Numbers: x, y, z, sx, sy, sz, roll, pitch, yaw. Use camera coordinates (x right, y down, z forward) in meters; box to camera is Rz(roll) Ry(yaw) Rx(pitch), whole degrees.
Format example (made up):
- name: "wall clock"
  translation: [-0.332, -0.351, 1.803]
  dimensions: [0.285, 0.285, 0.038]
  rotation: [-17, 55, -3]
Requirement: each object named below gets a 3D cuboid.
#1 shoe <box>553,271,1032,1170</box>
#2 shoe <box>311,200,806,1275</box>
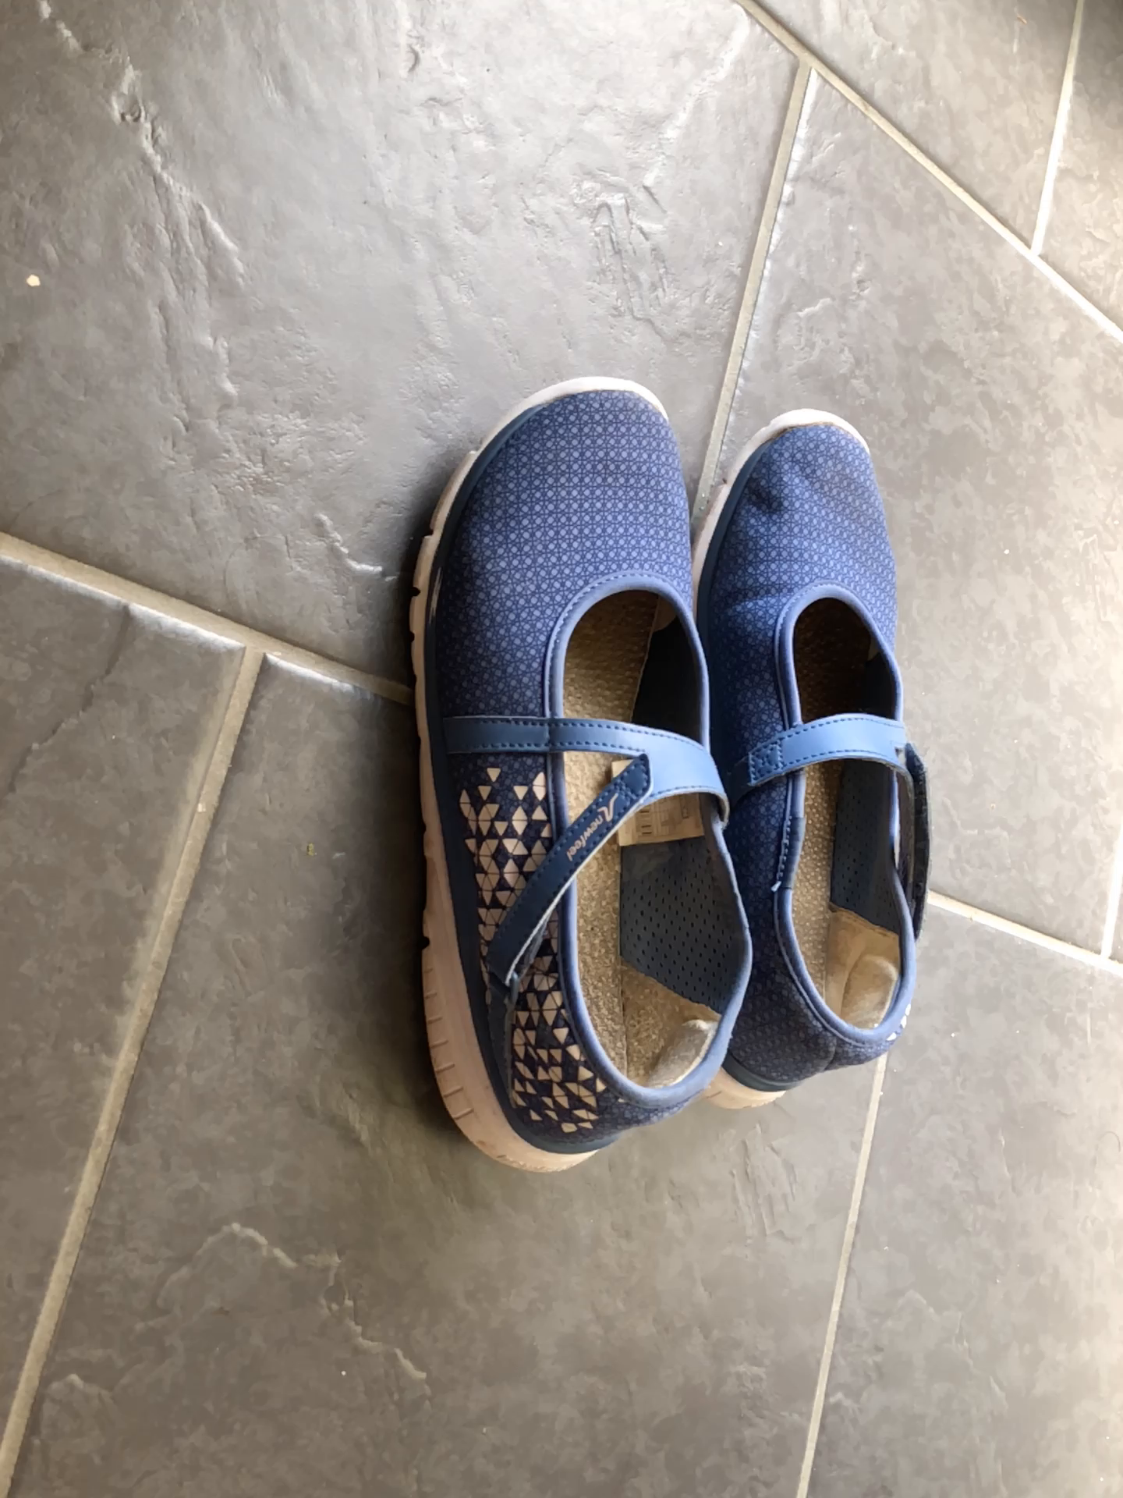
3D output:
- name: "shoe"
  translation: [0.088, -0.006, 0.476]
  dimensions: [0.110, 0.120, 0.290]
  rotation: [8, 85, -34]
- name: "shoe"
  translation: [-0.004, -0.002, 0.414]
  dimensions: [0.110, 0.120, 0.290]
  rotation: [3, 87, -34]
